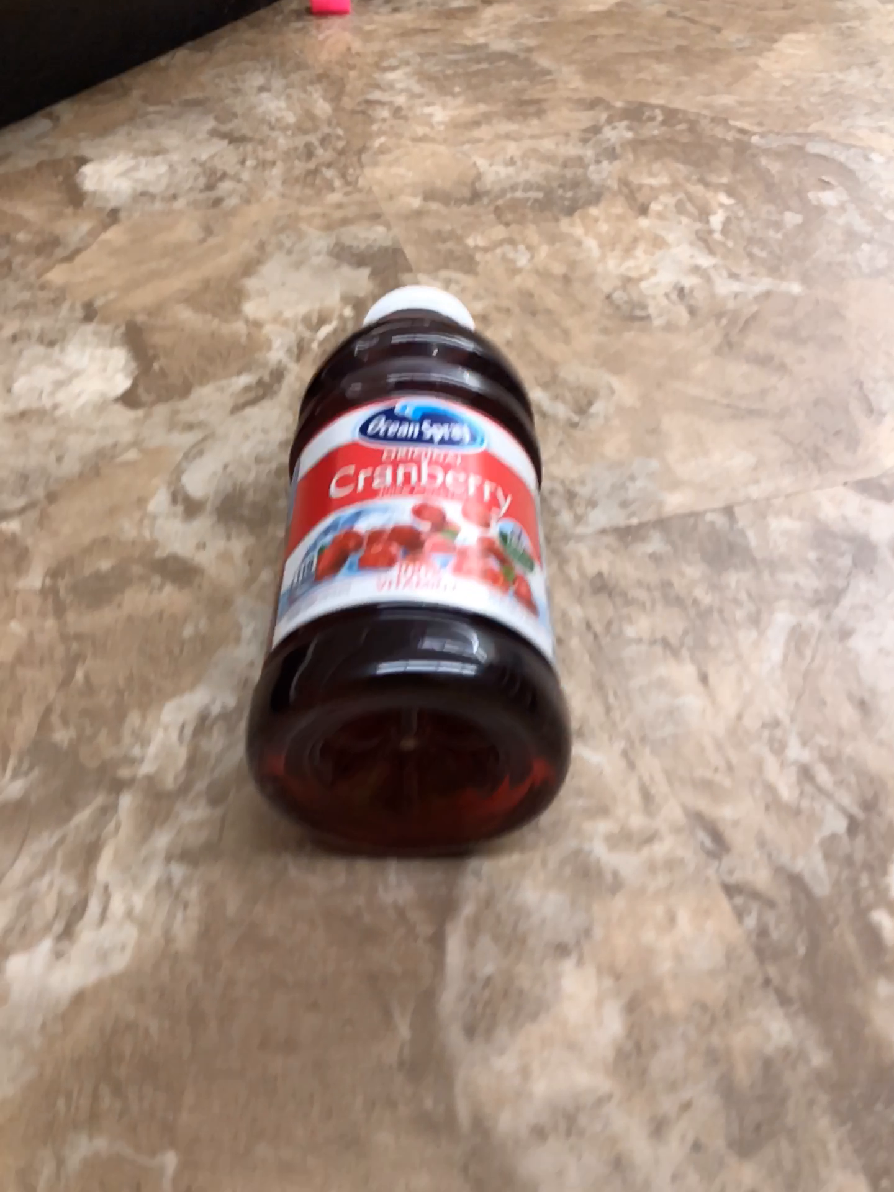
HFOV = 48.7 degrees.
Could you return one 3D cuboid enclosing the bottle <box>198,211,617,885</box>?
[{"bbox_3d":[-0.009,-0.032,0.319,0.089,0.083,0.227,-1,46,0],"label":"bottle"}]
